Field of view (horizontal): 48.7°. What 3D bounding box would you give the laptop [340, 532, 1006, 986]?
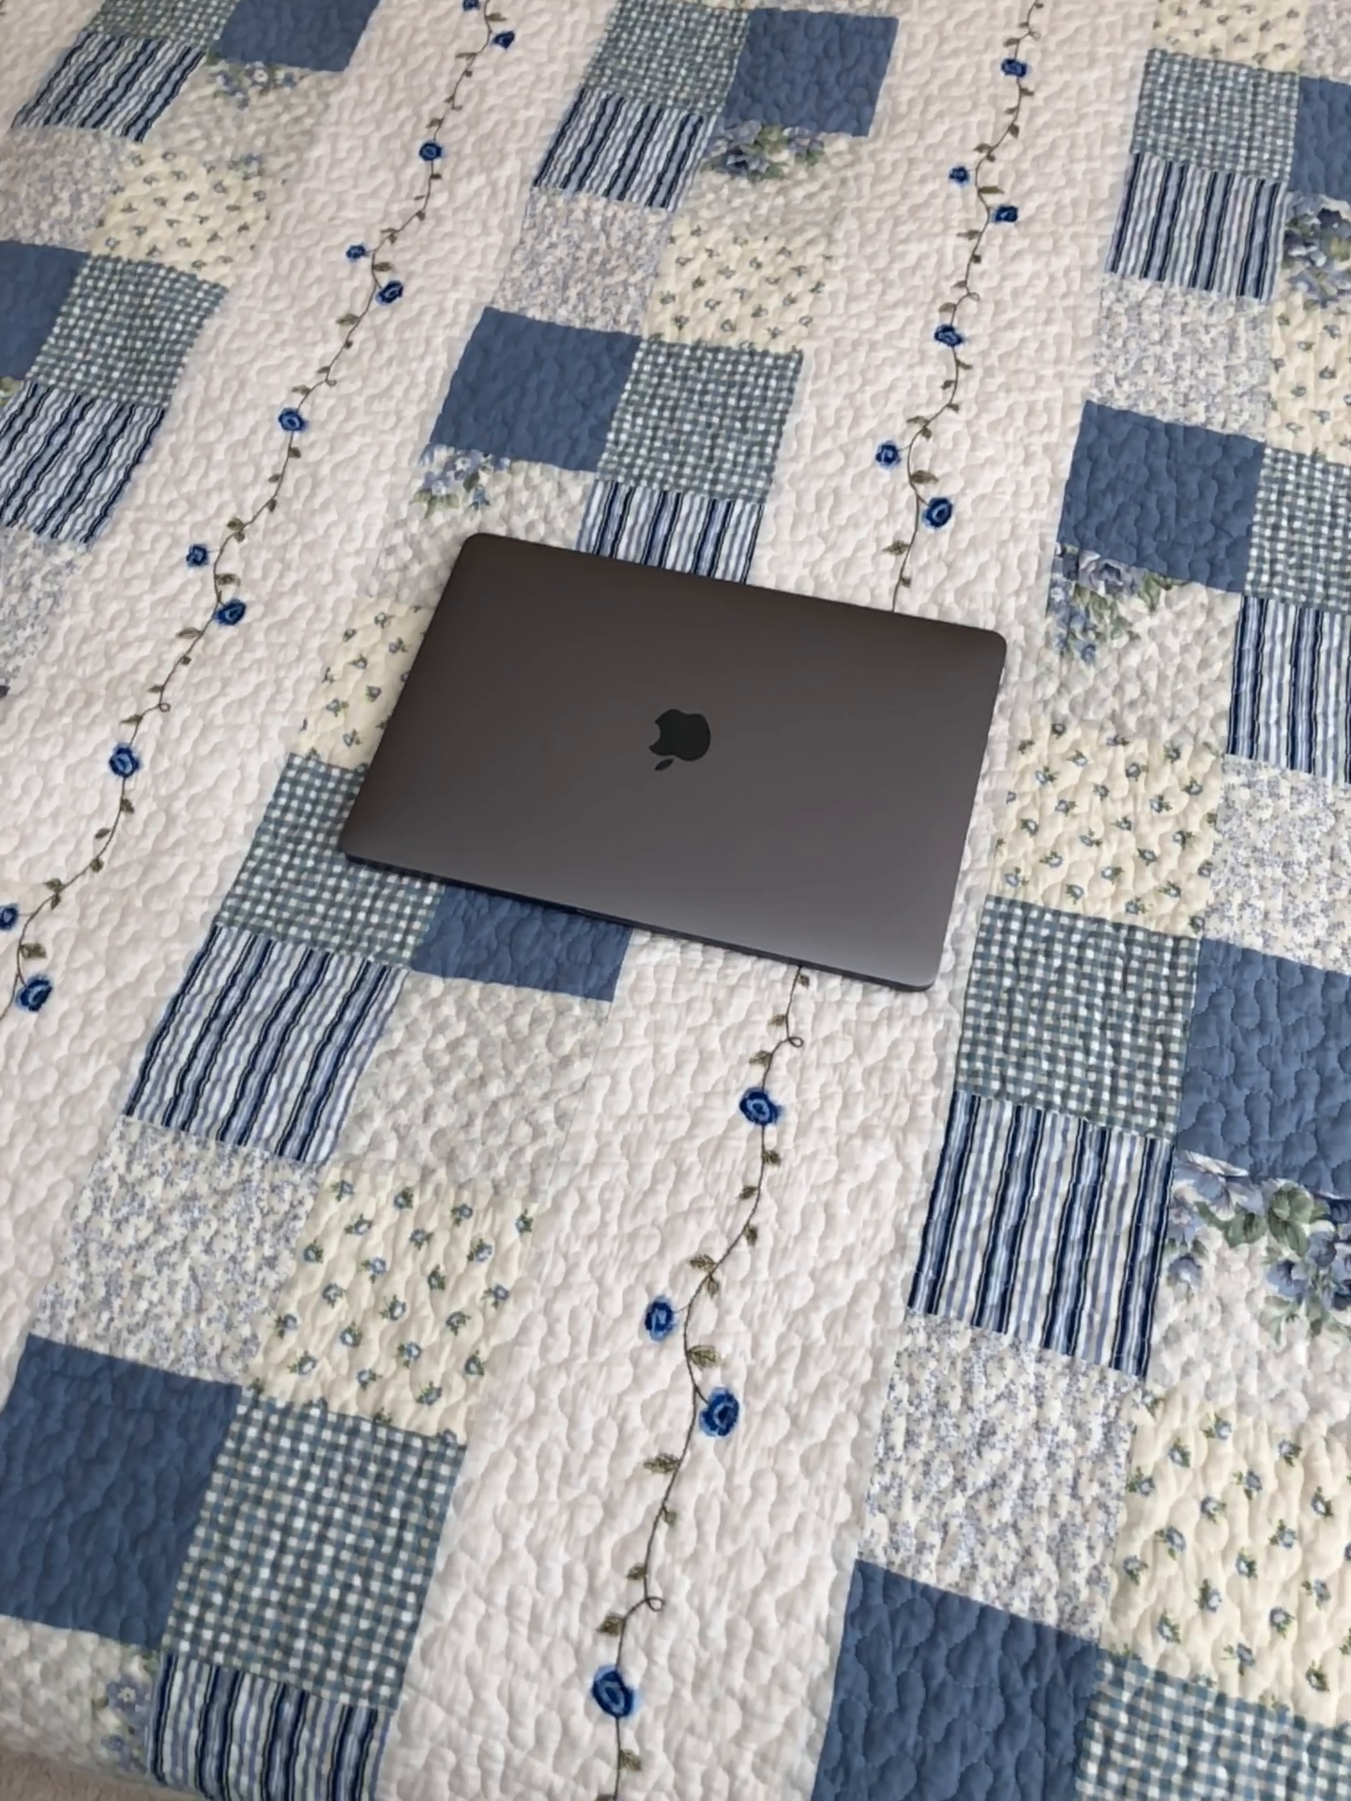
[{"bbox_3d":[0.004,-0.081,0.748,0.290,0.005,0.202,13,64,8],"label":"laptop"}]
